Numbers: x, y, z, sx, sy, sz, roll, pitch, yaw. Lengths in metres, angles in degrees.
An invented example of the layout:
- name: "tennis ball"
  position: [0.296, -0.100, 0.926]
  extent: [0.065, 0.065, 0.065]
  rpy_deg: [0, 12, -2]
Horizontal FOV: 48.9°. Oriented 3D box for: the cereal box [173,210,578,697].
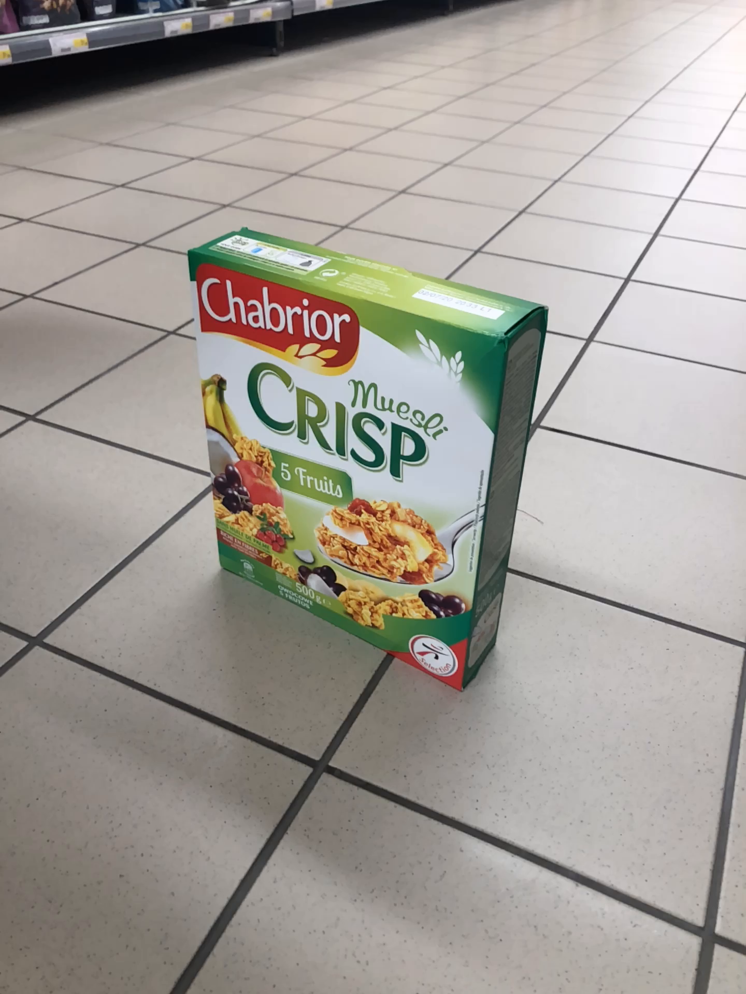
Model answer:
- name: "cereal box"
  position: [-0.008, -0.025, 0.465]
  extent: [0.200, 0.219, 0.060]
  rpy_deg: [23, 40, 27]
